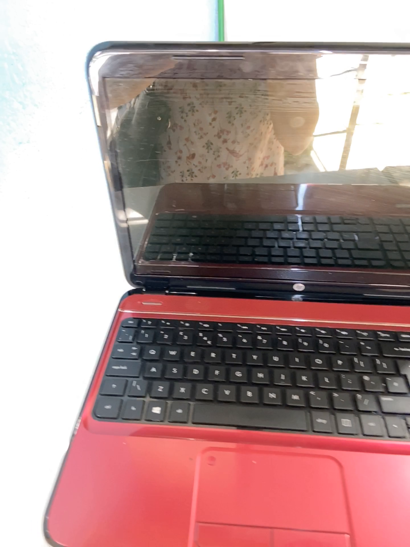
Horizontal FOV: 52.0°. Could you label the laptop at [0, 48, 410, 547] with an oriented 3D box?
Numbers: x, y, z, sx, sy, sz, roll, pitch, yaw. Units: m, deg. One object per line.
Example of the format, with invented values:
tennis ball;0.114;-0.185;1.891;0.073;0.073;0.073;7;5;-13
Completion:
laptop;0.080;0.009;0.264;0.356;0.220;0.228;2;38;6
